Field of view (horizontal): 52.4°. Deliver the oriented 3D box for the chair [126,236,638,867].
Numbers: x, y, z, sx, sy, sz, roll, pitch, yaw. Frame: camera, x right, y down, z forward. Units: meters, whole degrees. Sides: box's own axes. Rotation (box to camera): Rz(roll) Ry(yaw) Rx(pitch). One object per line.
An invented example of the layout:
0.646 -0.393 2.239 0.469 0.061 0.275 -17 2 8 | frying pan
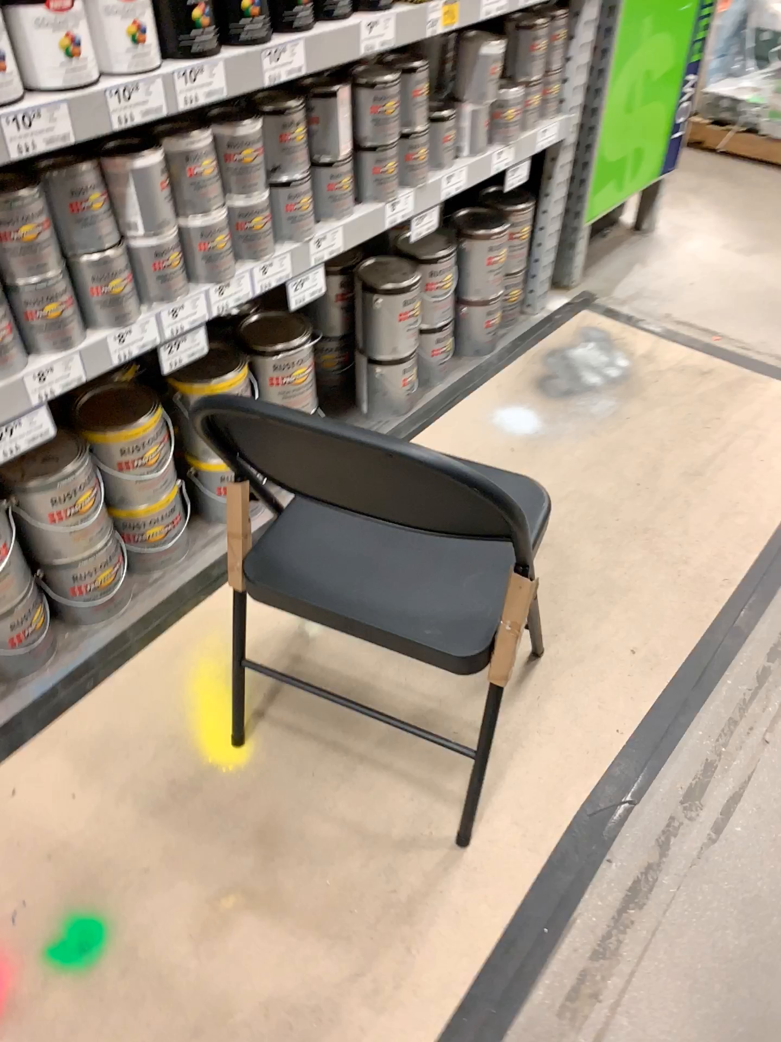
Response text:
0.016 0.051 1.192 0.452 0.713 0.476 18 46 18 | chair
